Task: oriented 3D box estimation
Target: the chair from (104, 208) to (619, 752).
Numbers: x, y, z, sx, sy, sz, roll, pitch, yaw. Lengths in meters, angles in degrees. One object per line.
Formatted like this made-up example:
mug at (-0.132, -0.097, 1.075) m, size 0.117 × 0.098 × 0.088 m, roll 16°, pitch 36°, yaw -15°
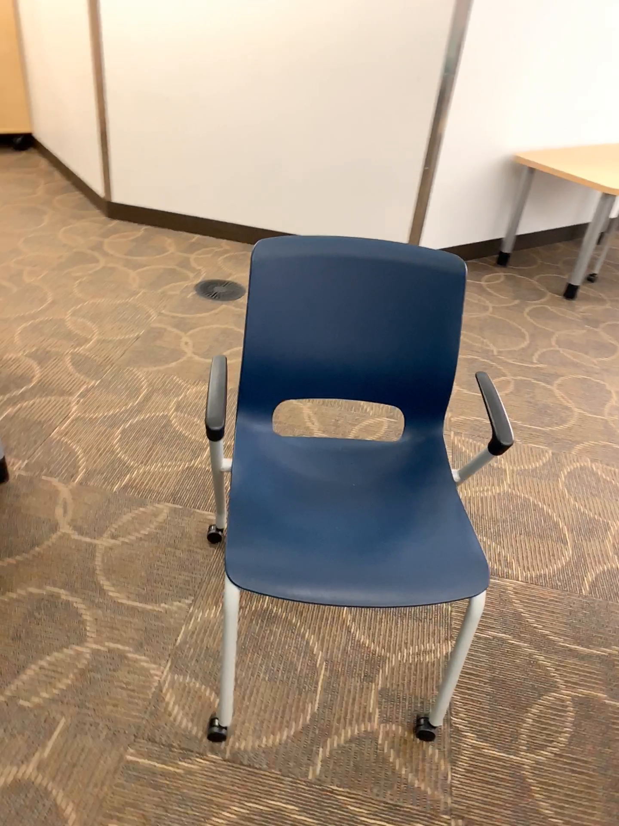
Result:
chair at (0.052, 0.108, 1.107) m, size 0.620 × 0.687 × 0.613 m, roll 3°, pitch 35°, yaw -6°
